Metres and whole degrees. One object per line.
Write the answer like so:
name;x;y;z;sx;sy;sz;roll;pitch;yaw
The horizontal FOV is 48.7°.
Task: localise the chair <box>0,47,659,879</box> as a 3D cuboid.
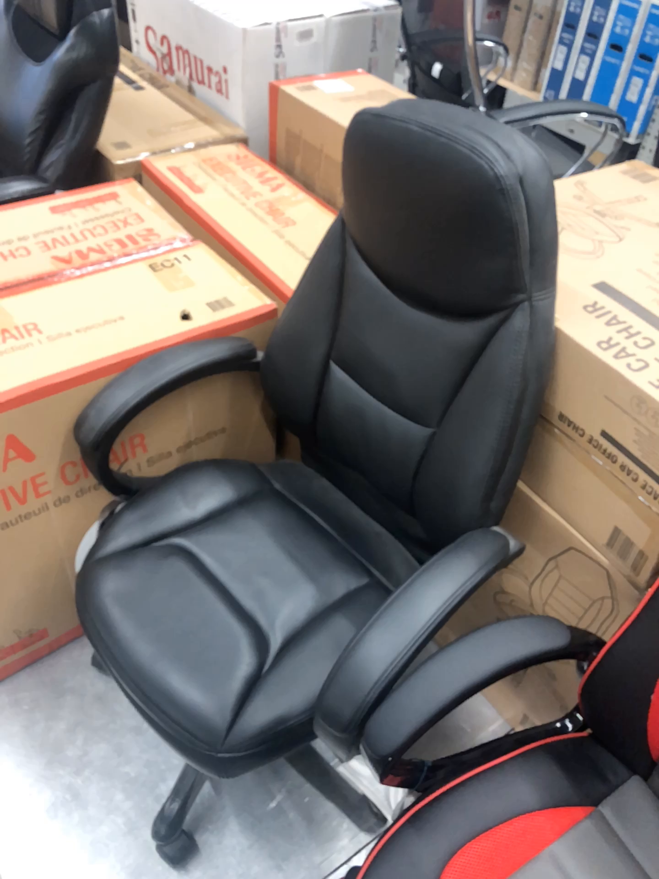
chair;-0.060;0.121;1.146;0.743;1.063;0.722;-32;55;-33
